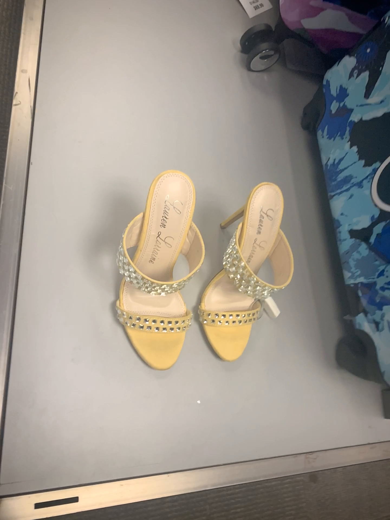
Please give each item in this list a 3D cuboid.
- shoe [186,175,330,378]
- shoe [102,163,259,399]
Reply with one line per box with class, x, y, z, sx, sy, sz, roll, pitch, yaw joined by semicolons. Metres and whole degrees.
shoe;0.069;0.027;0.464;0.111;0.116;0.199;8;77;-25
shoe;-0.023;0.024;0.418;0.116;0.115;0.202;1;80;-27
